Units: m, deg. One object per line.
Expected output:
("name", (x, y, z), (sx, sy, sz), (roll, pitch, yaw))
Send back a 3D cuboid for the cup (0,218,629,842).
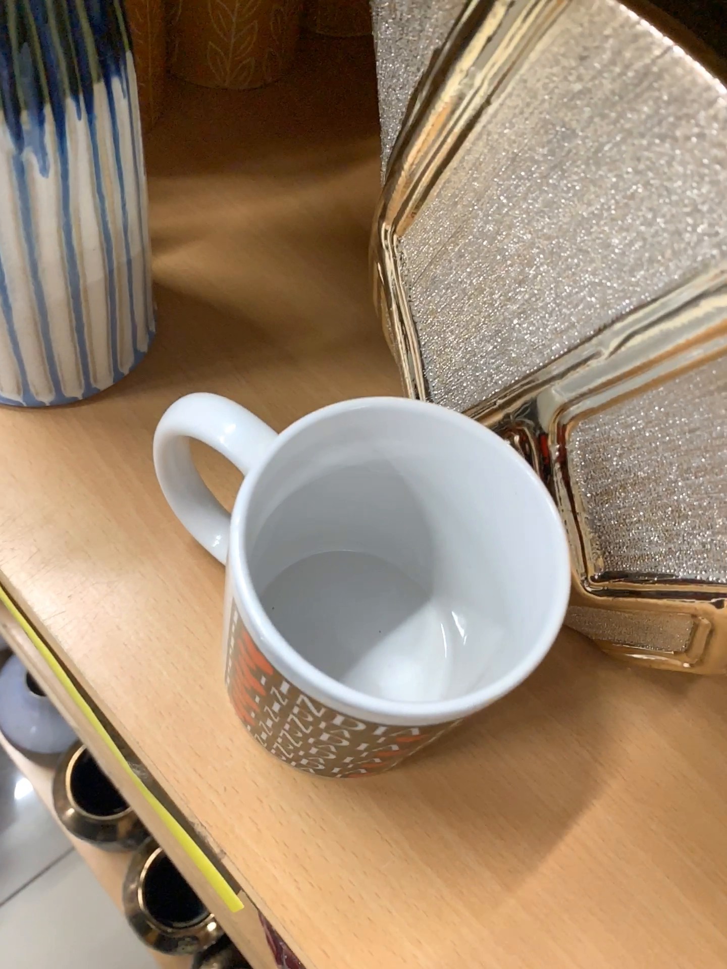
("cup", (-0.020, 0.015, 0.211), (0.130, 0.090, 0.090), (33, 58, 7))
